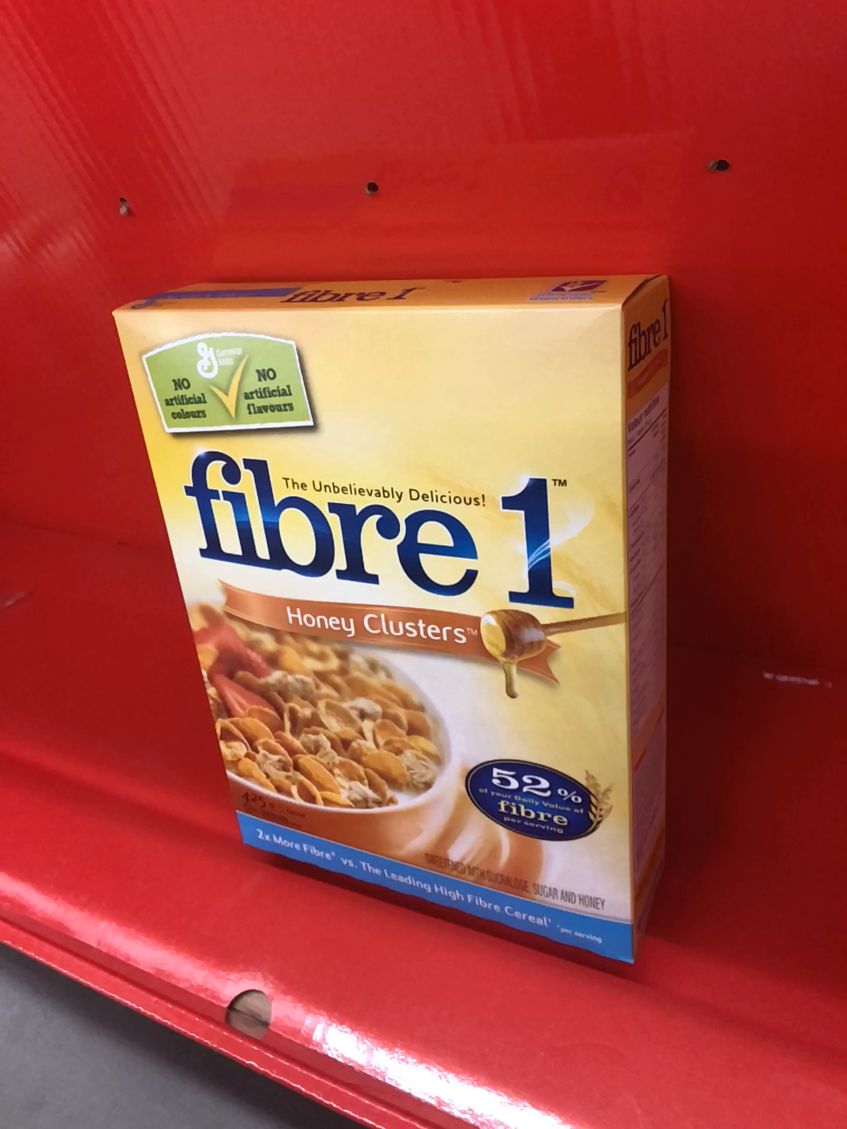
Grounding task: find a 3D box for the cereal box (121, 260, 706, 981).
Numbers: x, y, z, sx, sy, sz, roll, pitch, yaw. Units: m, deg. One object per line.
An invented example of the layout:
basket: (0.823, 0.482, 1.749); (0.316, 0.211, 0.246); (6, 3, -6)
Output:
cereal box: (0.002, 0.020, 0.393); (0.211, 0.269, 0.060); (7, 27, 28)
